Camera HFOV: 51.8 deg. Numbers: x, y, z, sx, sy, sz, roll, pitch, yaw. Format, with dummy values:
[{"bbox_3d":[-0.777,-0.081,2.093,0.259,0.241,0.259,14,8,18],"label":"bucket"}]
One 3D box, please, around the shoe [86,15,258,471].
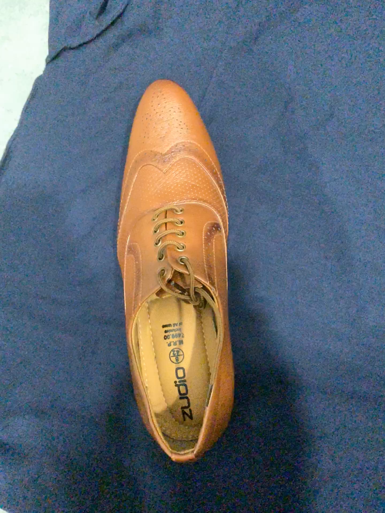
[{"bbox_3d":[-0.015,-0.013,0.326,0.100,0.090,0.320,-6,82,8],"label":"shoe"}]
